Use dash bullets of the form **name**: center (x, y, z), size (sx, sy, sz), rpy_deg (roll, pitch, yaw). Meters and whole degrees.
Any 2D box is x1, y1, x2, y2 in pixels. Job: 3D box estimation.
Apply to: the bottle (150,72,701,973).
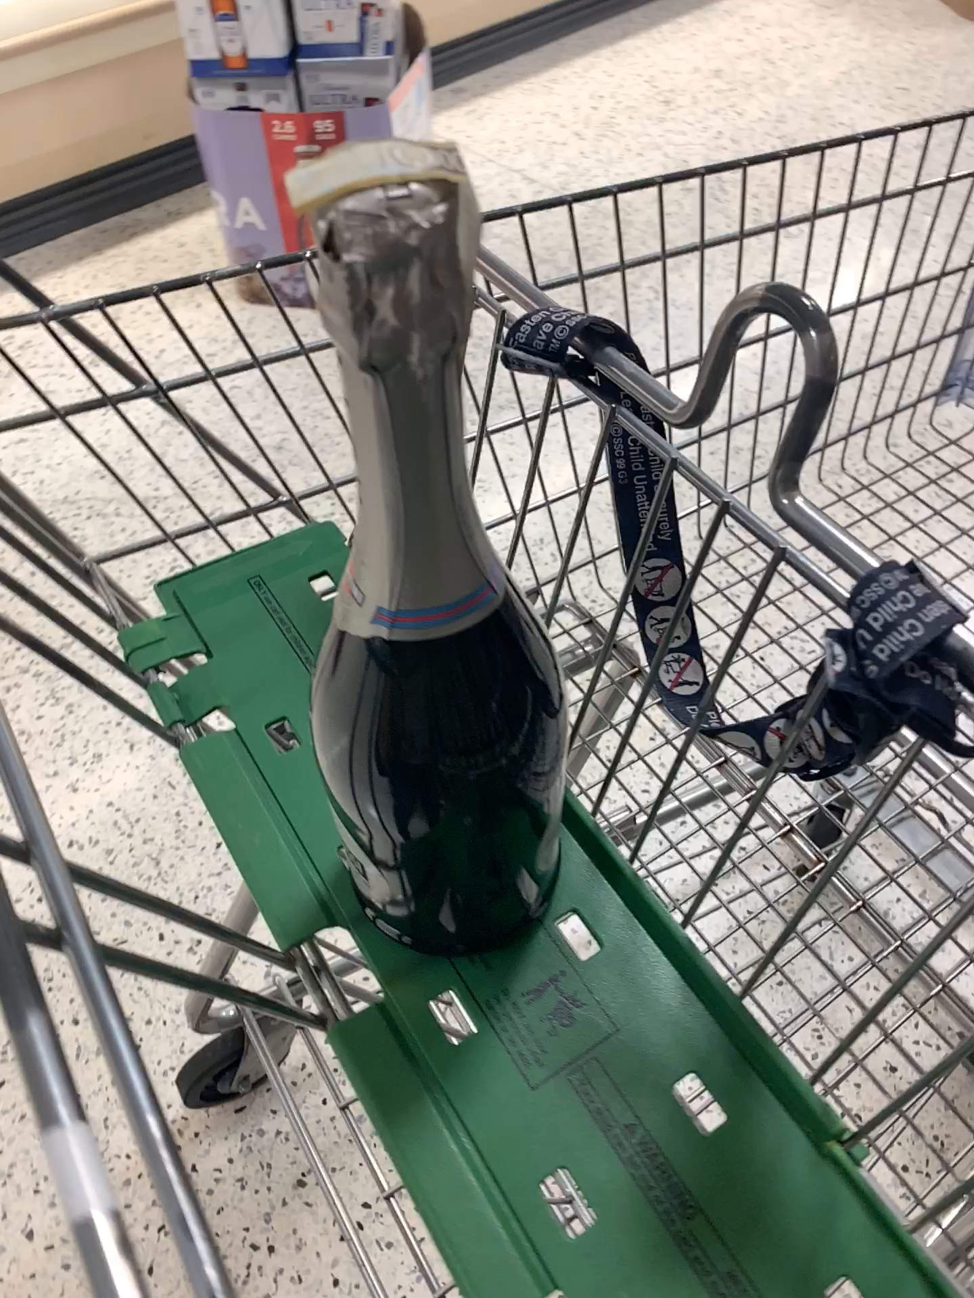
- **bottle**: center (-0.013, -0.008, 0.323), size (0.100, 0.287, 0.101), rpy_deg (-1, 50, 1)
